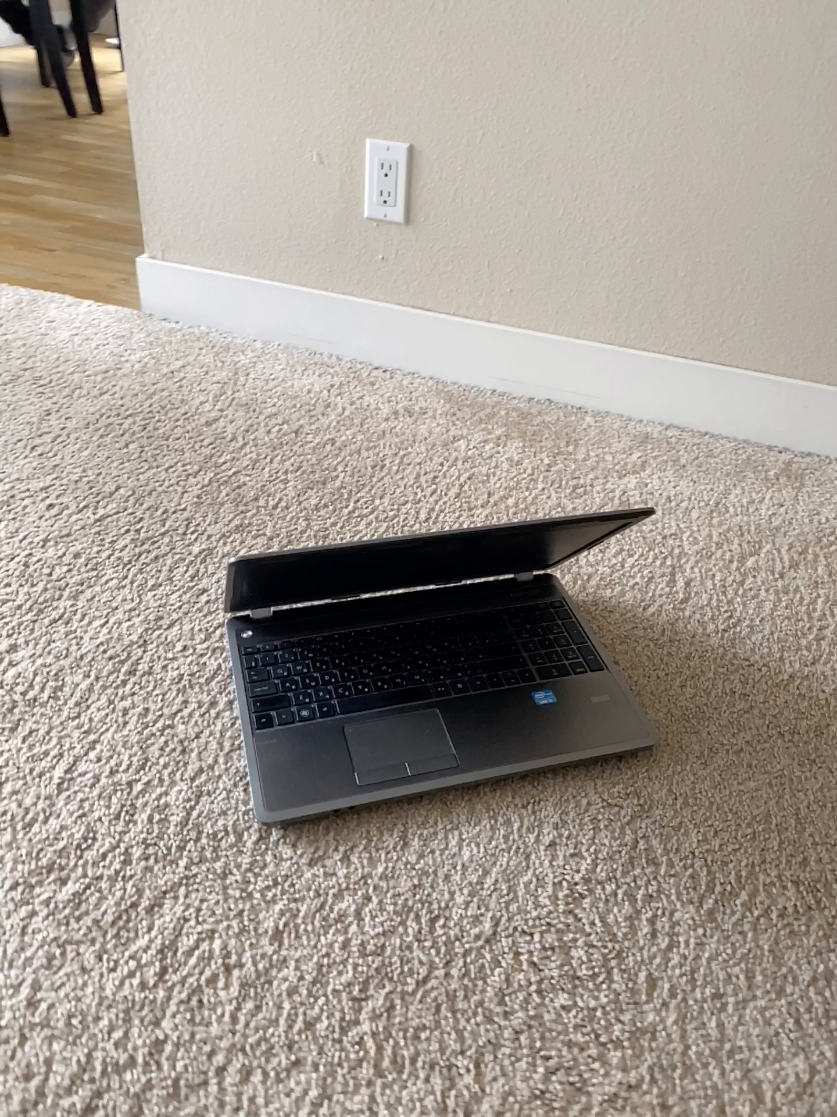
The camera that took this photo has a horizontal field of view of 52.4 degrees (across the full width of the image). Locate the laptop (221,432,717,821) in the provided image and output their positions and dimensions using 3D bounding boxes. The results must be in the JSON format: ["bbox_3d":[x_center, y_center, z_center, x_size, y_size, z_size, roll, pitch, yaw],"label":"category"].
[{"bbox_3d":[0.023,0.041,0.786,0.368,0.186,0.255,-7,38,-16],"label":"laptop"}]
